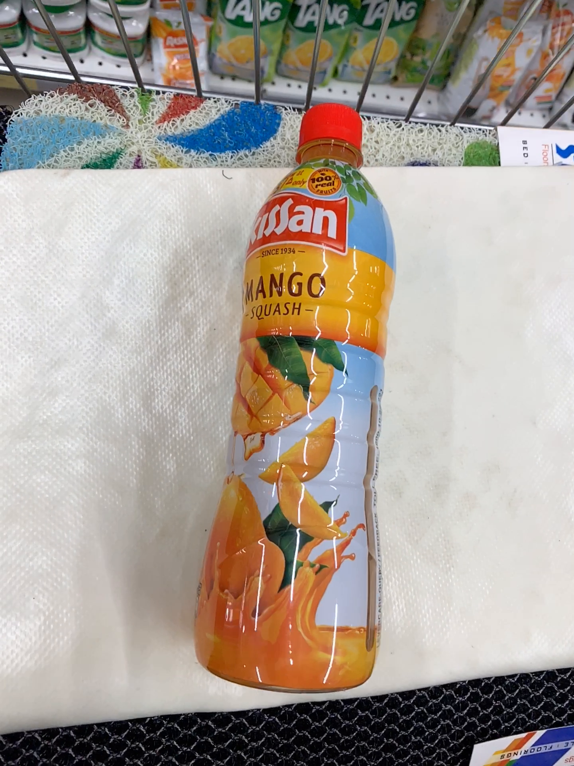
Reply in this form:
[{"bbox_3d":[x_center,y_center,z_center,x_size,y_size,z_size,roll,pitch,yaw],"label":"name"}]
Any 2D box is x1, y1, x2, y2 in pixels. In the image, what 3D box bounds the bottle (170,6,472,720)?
[{"bbox_3d":[0.016,-0.007,0.243,0.080,0.070,0.230,9,84,-42],"label":"bottle"}]
